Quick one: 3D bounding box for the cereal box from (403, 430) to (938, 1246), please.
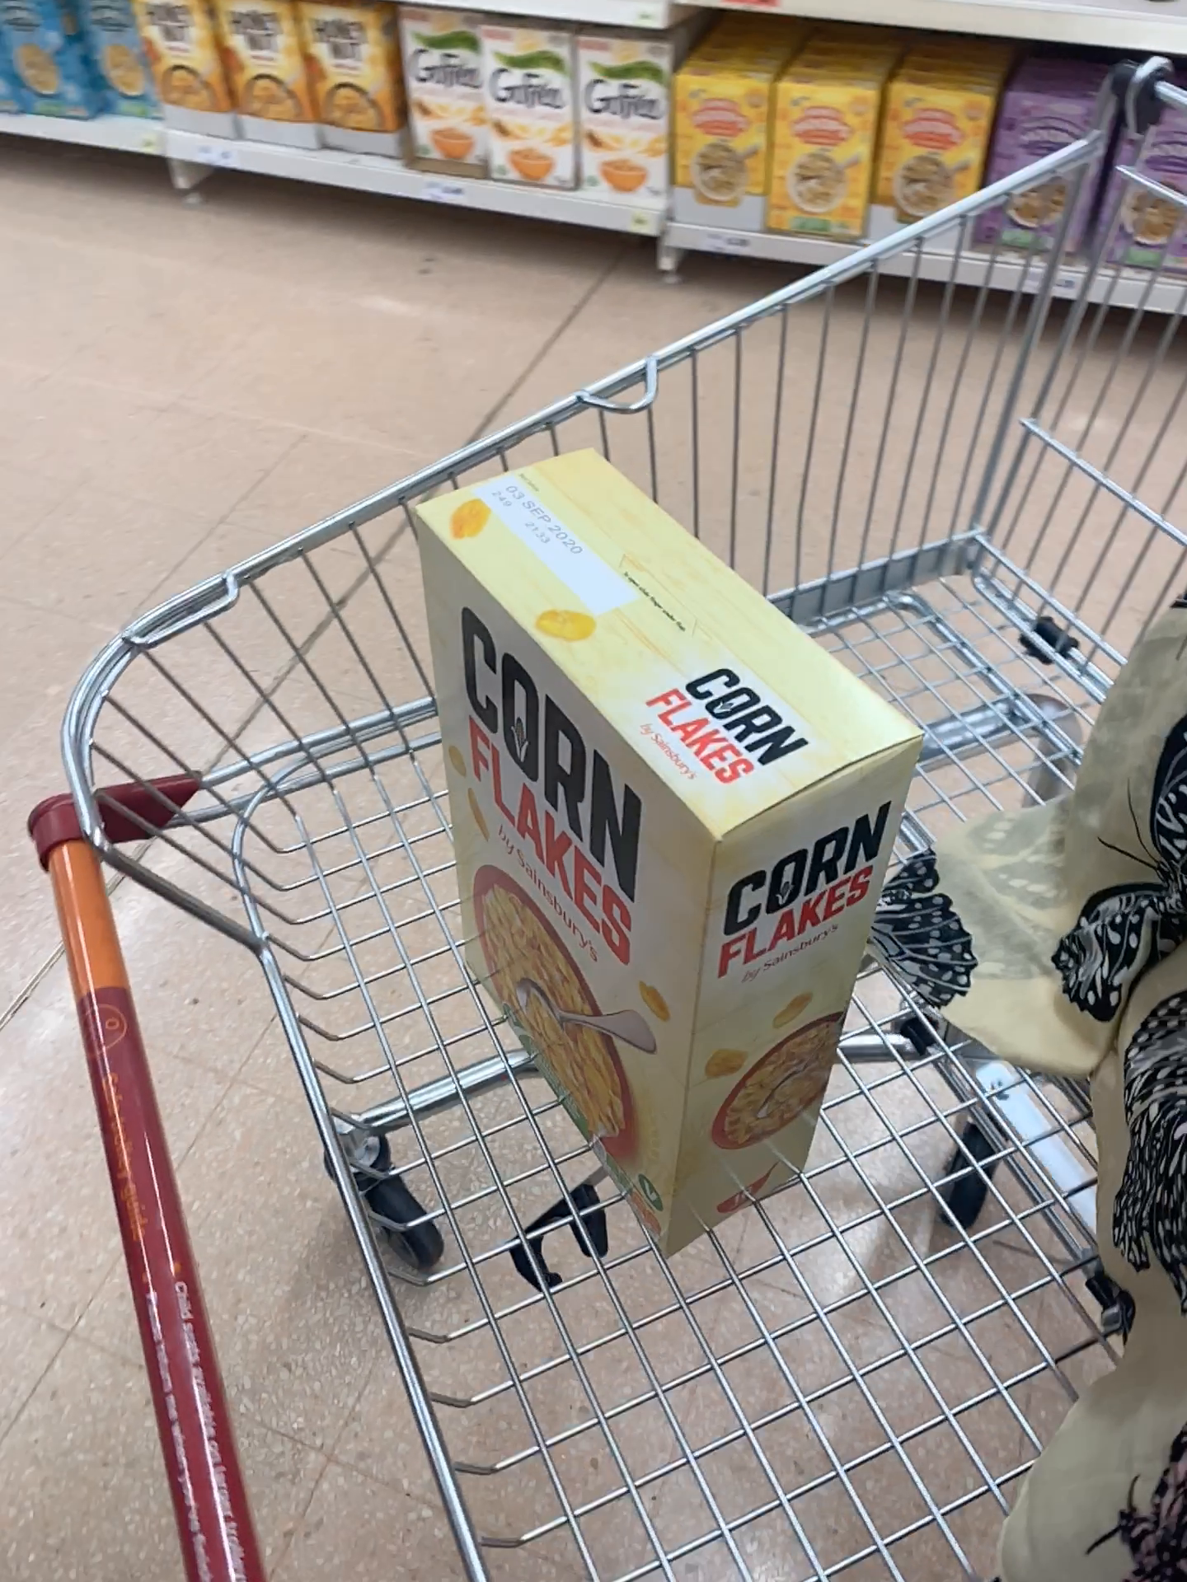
[{"bbox_3d":[0.016,0.031,0.499,0.080,0.278,0.191,-25,52,-21],"label":"cereal box"}]
